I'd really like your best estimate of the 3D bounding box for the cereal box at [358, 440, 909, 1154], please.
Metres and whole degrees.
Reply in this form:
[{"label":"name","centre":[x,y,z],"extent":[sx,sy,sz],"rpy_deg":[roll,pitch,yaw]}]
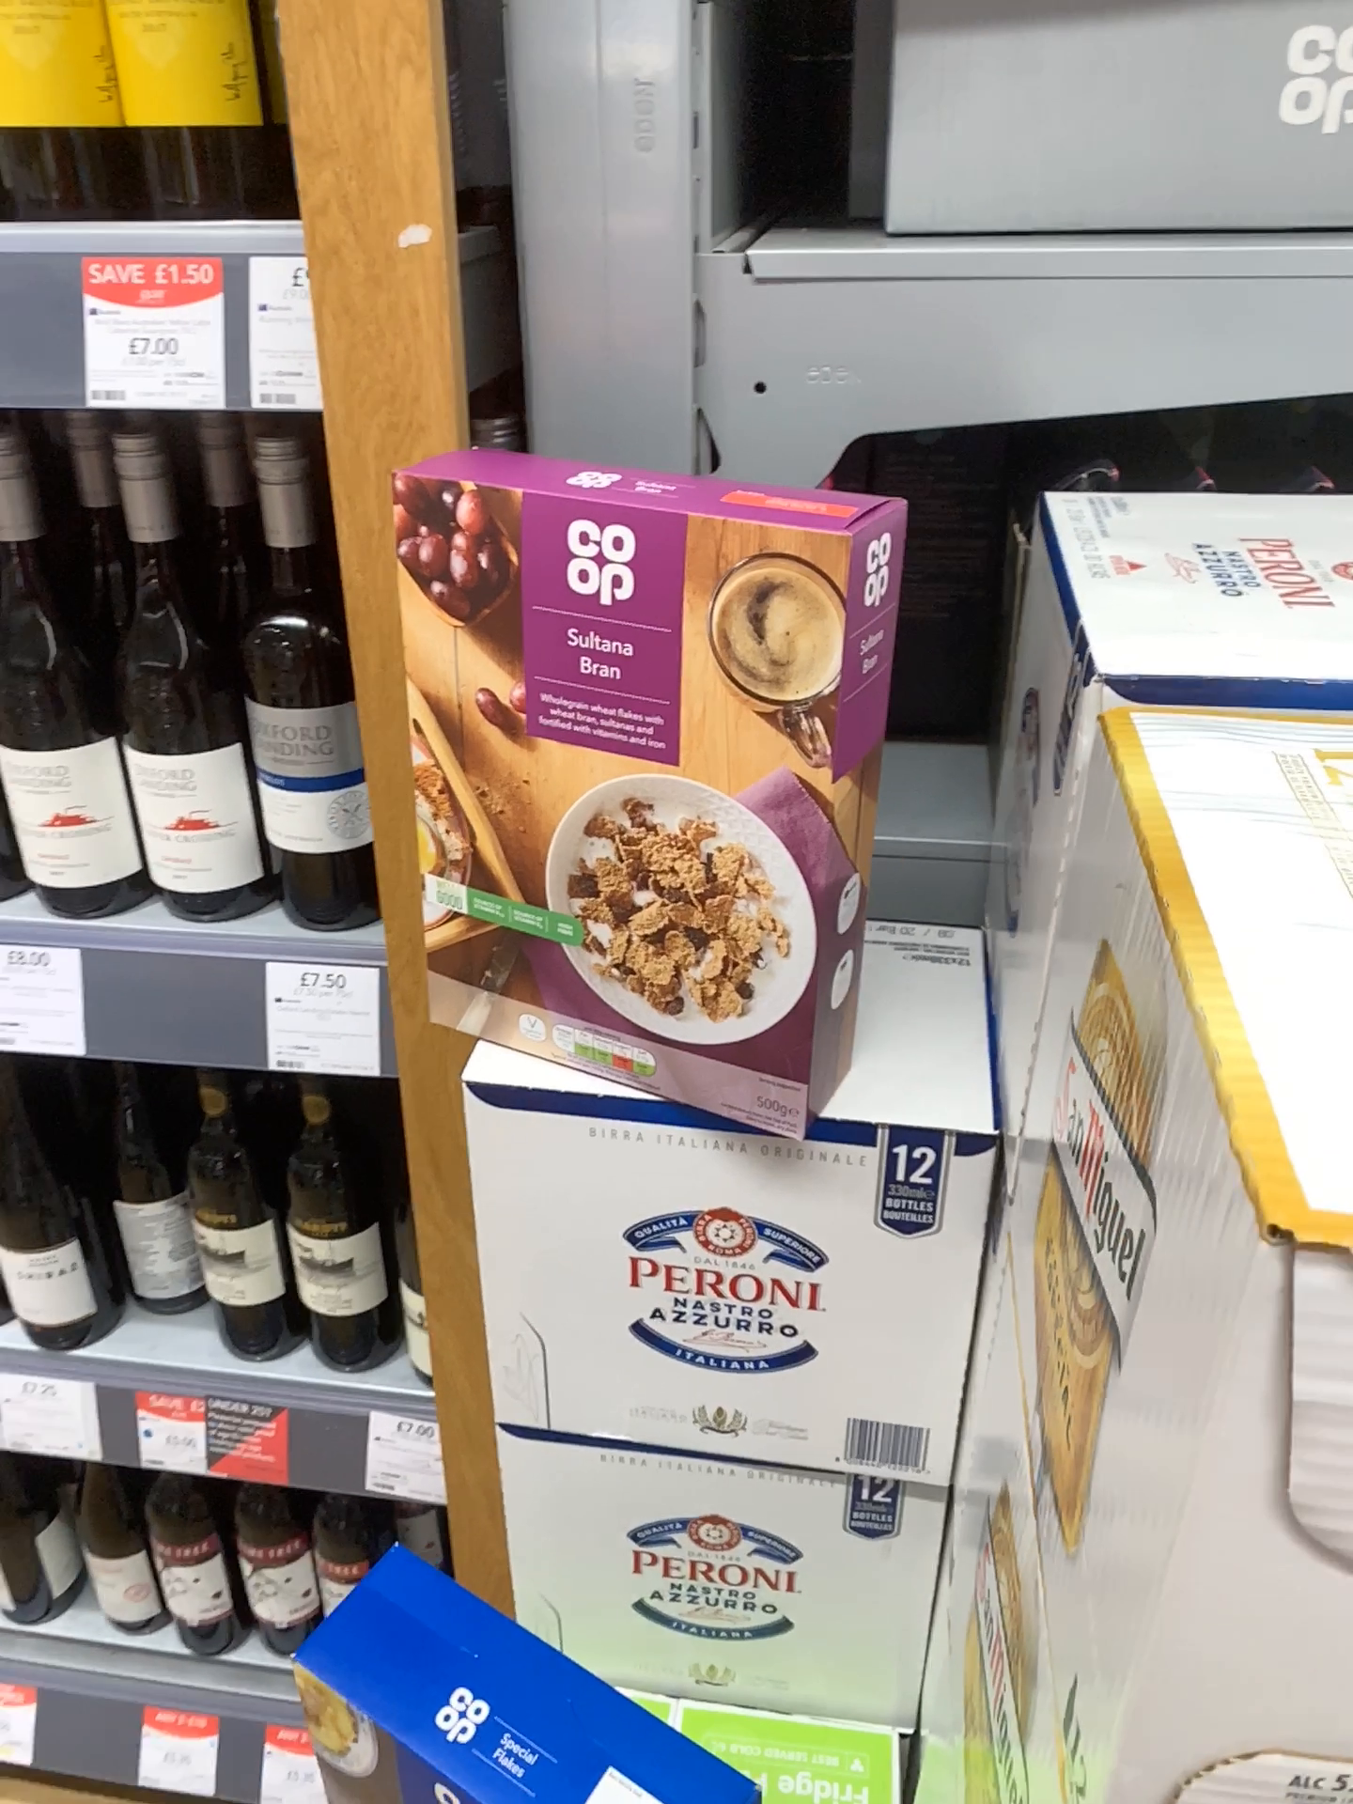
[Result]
[{"label":"cereal box","centre":[-0.019,-0.046,0.587],"extent":[0.200,0.258,0.070],"rpy_deg":[14,32,25]}]
